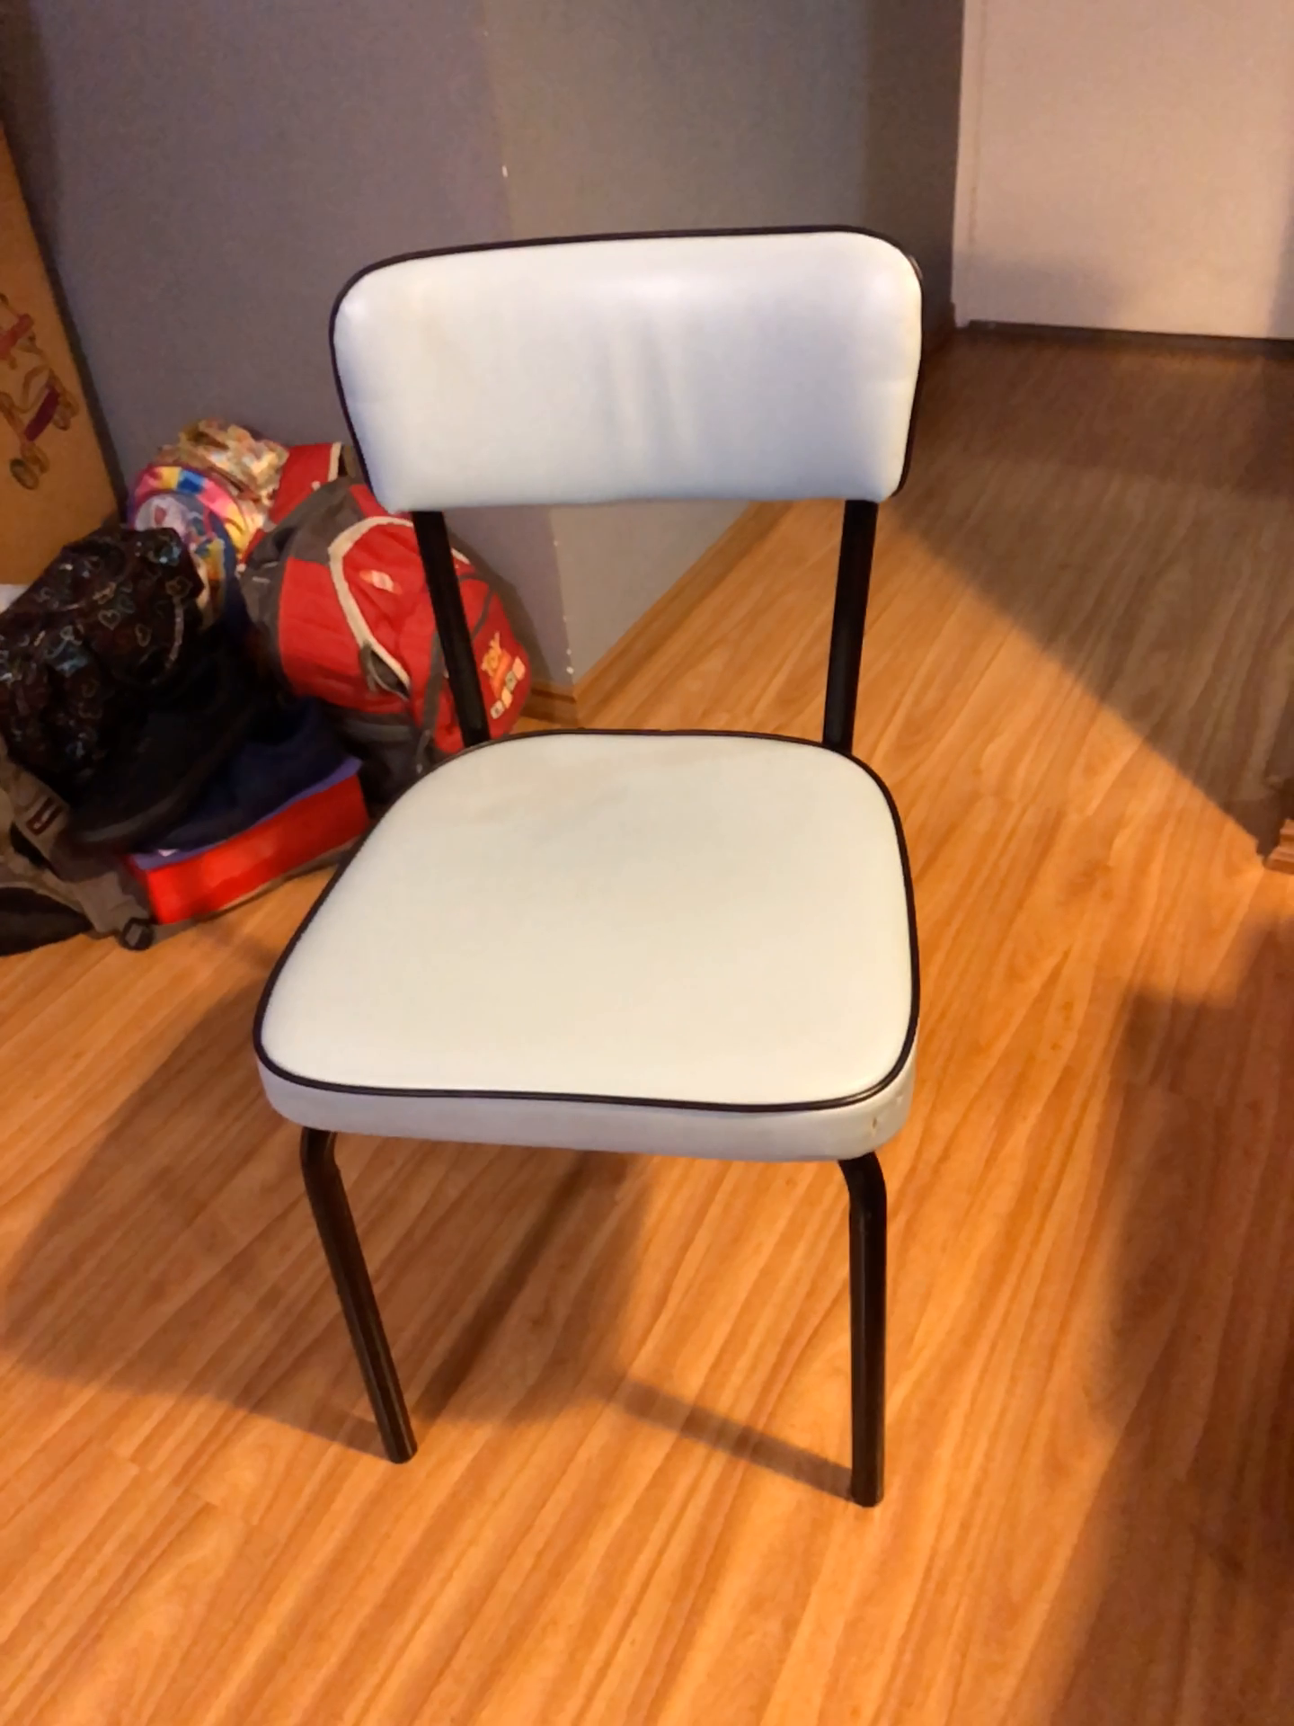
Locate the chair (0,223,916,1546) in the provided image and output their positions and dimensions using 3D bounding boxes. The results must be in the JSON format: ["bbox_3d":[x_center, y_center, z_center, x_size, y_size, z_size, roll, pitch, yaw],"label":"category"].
[{"bbox_3d":[-0.041,0.031,1.045,0.450,0.794,0.503,1,38,10],"label":"chair"}]
